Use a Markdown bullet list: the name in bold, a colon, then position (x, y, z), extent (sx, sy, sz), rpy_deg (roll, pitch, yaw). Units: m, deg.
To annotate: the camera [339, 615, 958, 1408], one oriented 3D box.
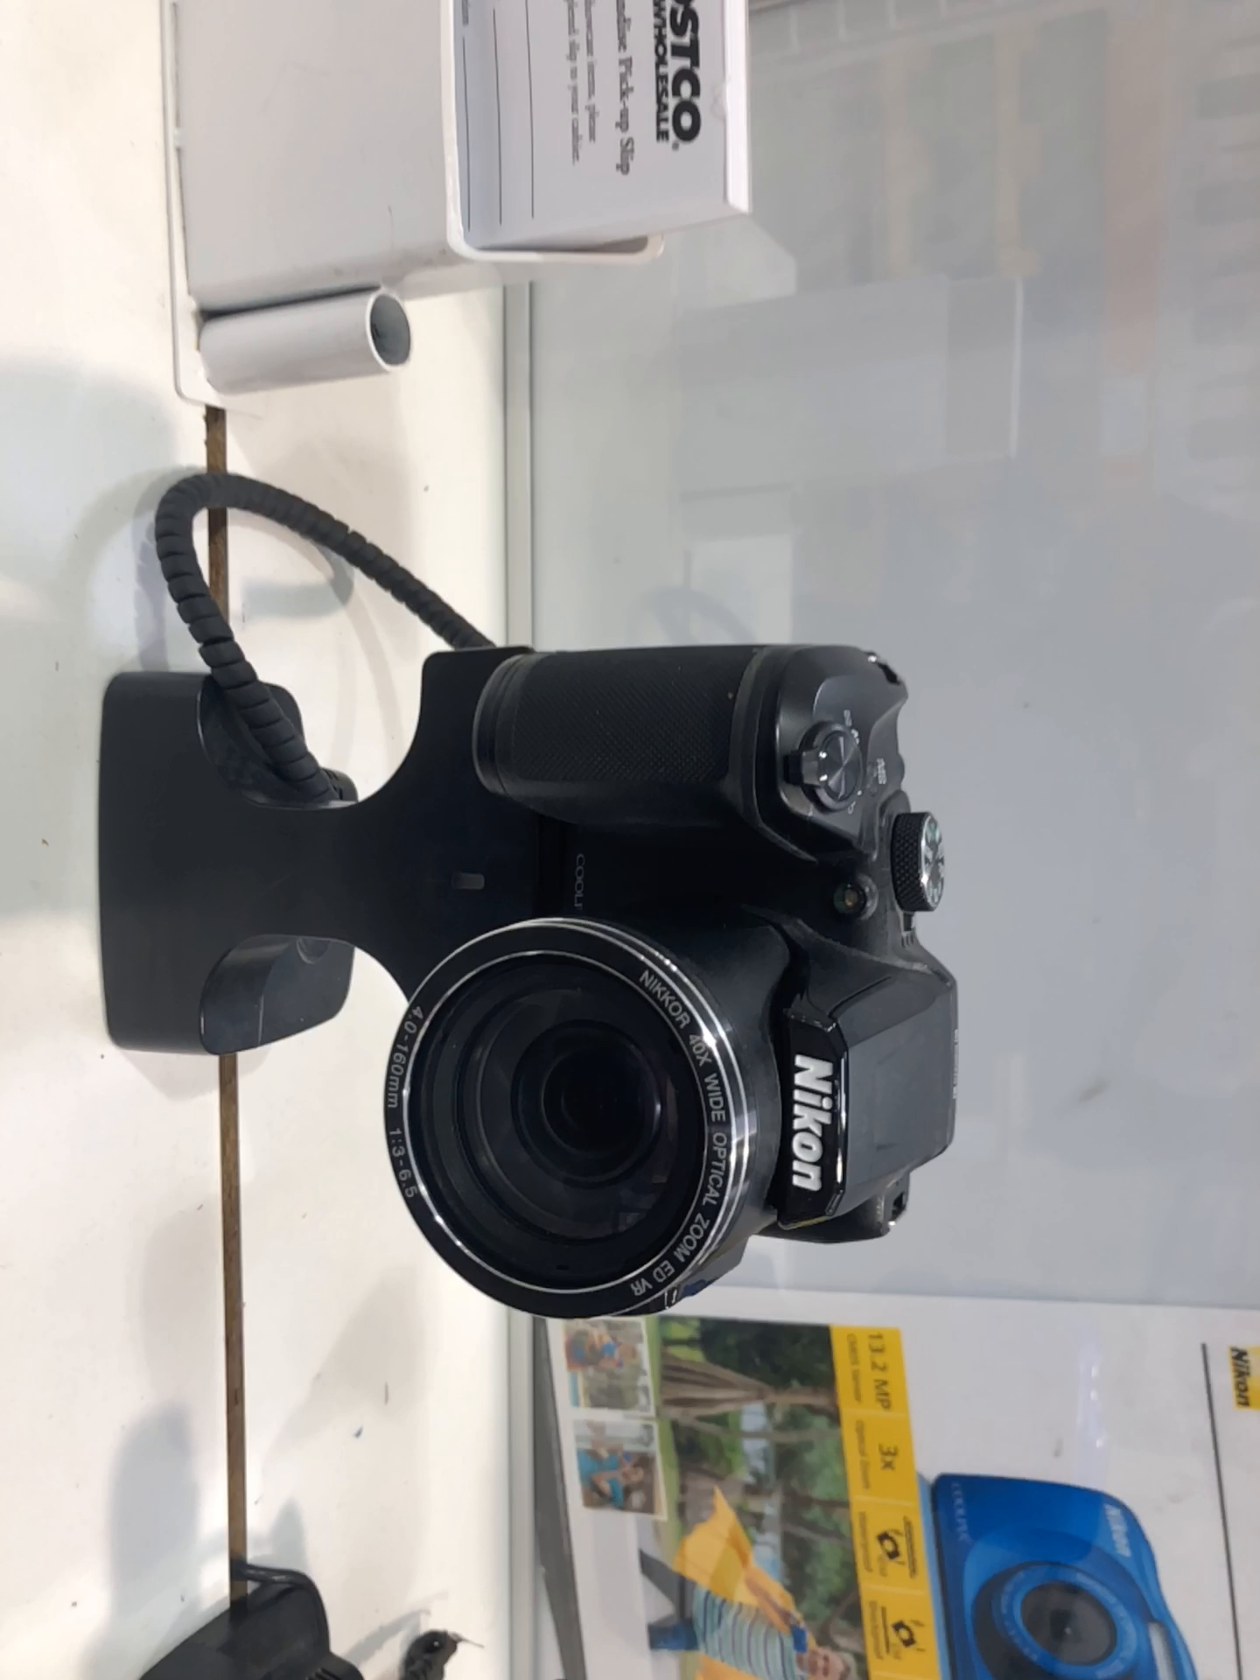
- **camera**: position (0.011, 0.021, 0.264), extent (0.101, 0.079, 0.116), rpy_deg (-10, 100, -64)
